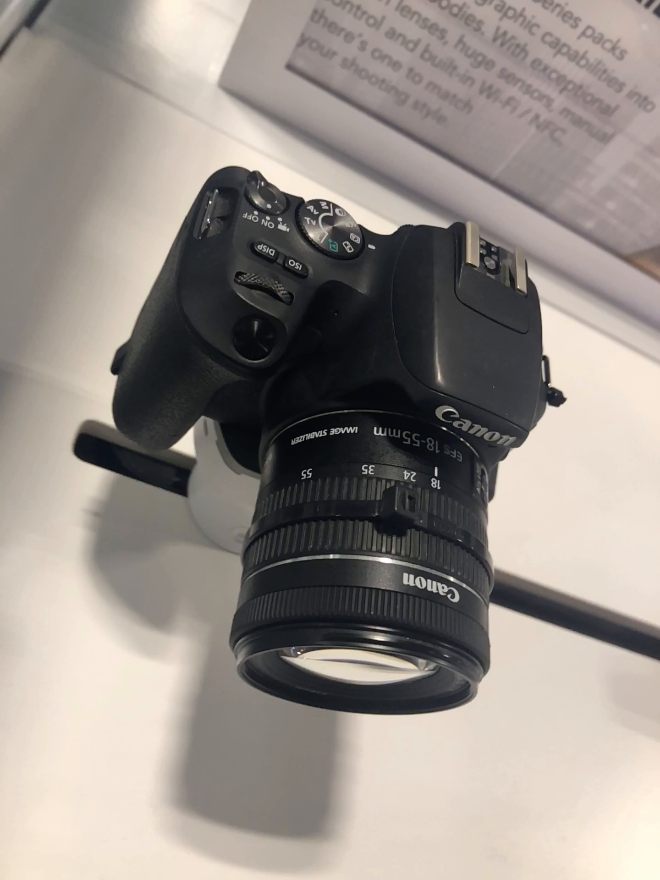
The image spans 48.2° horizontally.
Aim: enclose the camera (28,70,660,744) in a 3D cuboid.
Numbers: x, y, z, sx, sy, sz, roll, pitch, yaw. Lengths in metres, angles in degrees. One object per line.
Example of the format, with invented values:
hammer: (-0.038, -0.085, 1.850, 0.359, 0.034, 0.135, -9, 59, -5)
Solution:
camera: (0.008, 0.004, 0.197, 0.122, 0.099, 0.110, 21, 54, -19)
